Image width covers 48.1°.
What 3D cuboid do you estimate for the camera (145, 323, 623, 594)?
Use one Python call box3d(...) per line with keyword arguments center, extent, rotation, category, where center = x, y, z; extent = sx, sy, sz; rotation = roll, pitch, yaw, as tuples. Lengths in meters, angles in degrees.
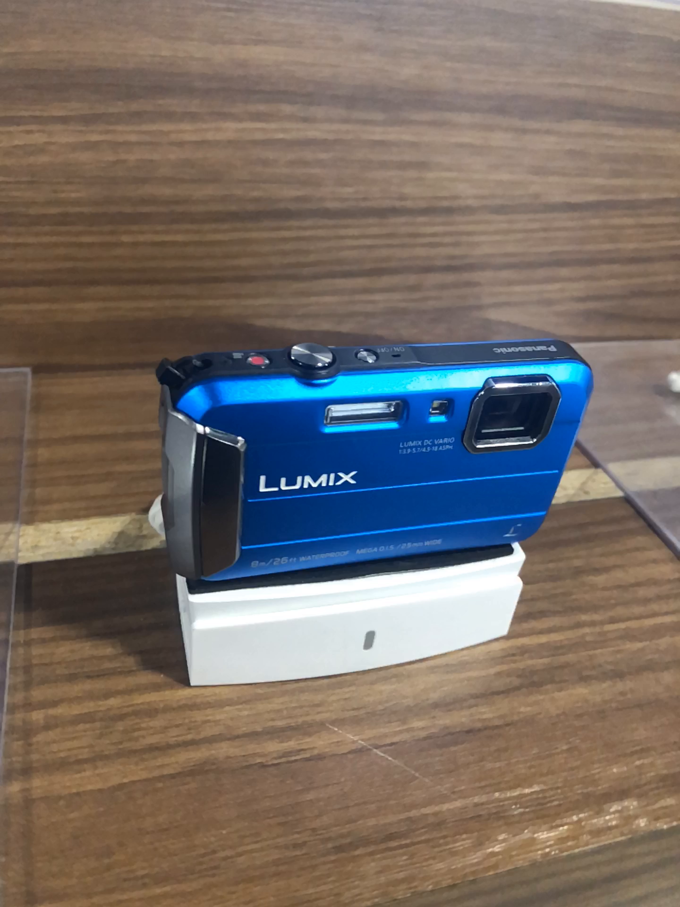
box3d(center=(0.008, 0.000, 0.177), extent=(0.100, 0.051, 0.023), rotation=(-5, 40, -17), category="camera")
